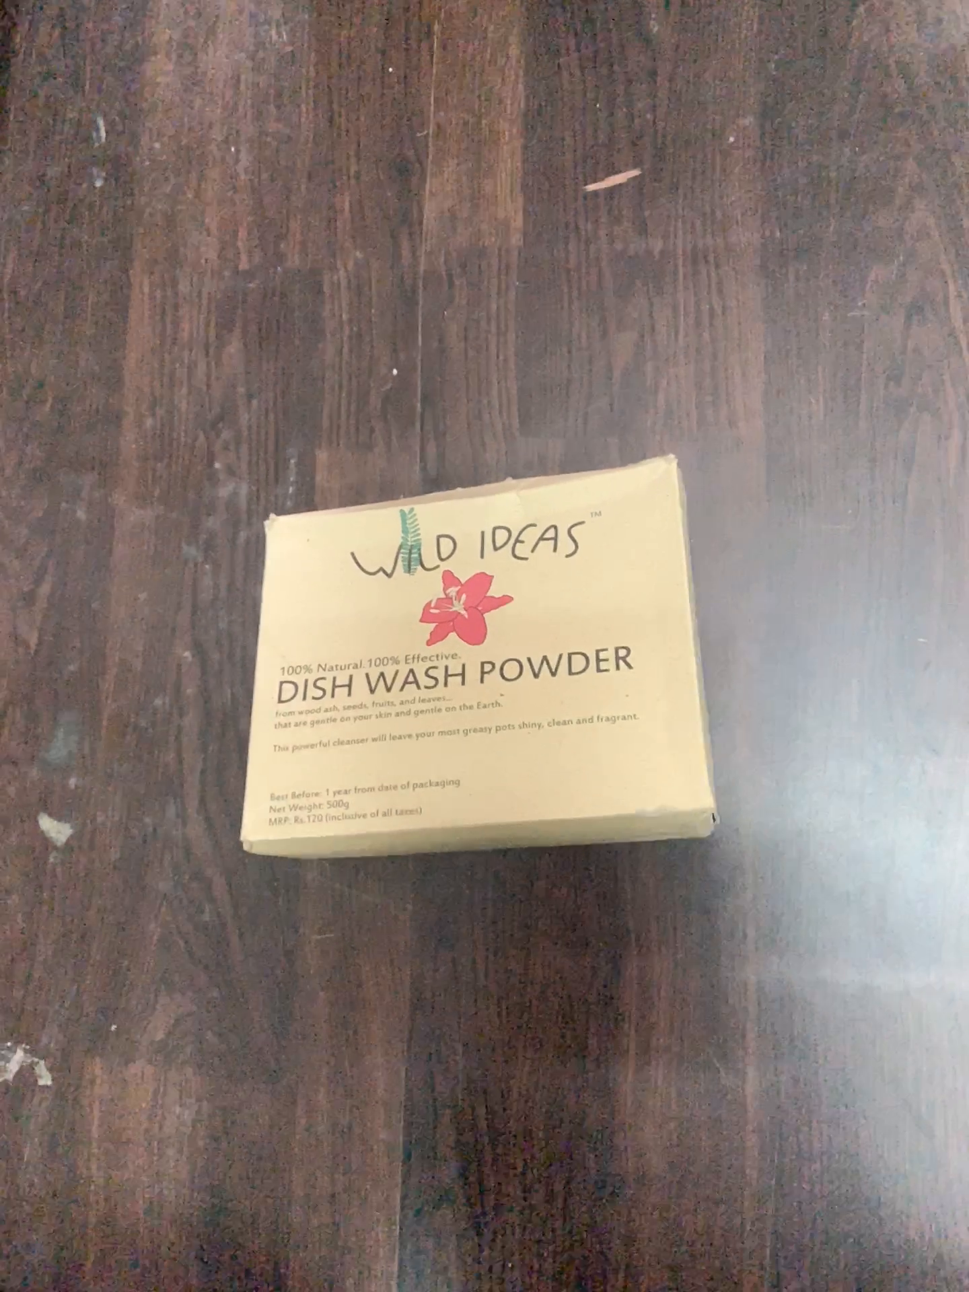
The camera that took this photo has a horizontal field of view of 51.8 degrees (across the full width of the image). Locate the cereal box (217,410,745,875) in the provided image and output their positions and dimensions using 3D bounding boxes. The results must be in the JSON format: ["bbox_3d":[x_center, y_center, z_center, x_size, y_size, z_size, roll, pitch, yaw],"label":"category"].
[{"bbox_3d":[-0.001,0.003,0.387,0.180,0.060,0.150,-6,67,14],"label":"cereal box"}]
